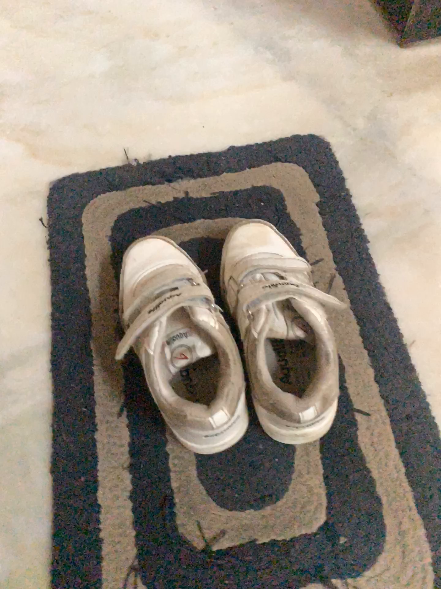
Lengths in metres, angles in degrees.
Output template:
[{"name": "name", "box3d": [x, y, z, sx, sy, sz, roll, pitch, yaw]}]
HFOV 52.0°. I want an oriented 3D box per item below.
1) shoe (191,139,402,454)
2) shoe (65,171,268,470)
[{"name": "shoe", "box3d": [0.041, 0.000, 0.333, 0.080, 0.090, 0.201, -13, 64, -3]}, {"name": "shoe", "box3d": [-0.042, 0.018, 0.342, 0.080, 0.090, 0.191, -20, 65, -7]}]
